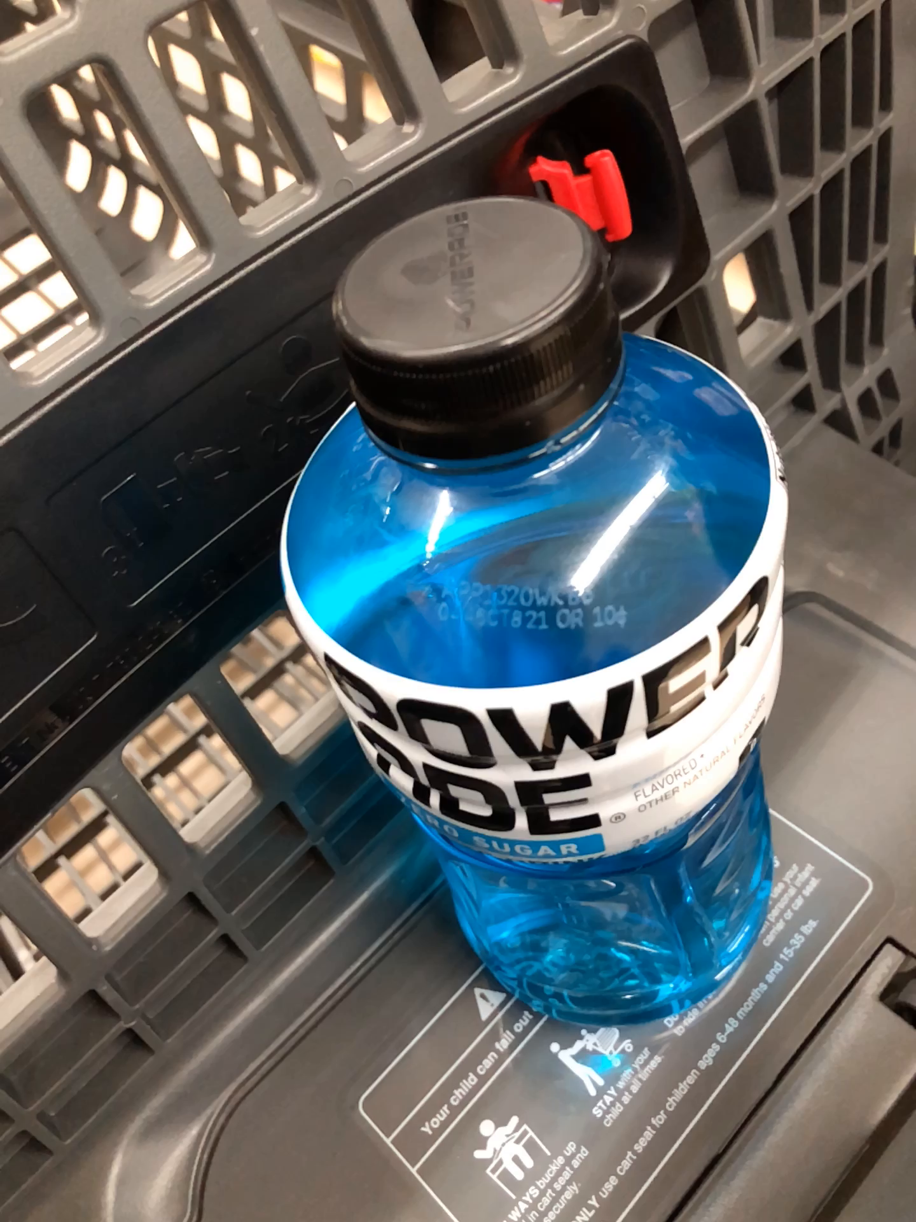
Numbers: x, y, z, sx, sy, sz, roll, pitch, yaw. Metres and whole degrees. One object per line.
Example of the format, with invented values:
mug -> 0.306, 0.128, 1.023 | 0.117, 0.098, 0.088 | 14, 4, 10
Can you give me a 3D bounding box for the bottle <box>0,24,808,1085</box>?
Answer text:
bottle -> 0.022, 0.017, 0.227 | 0.100, 0.220, 0.100 | -9, 49, 11
